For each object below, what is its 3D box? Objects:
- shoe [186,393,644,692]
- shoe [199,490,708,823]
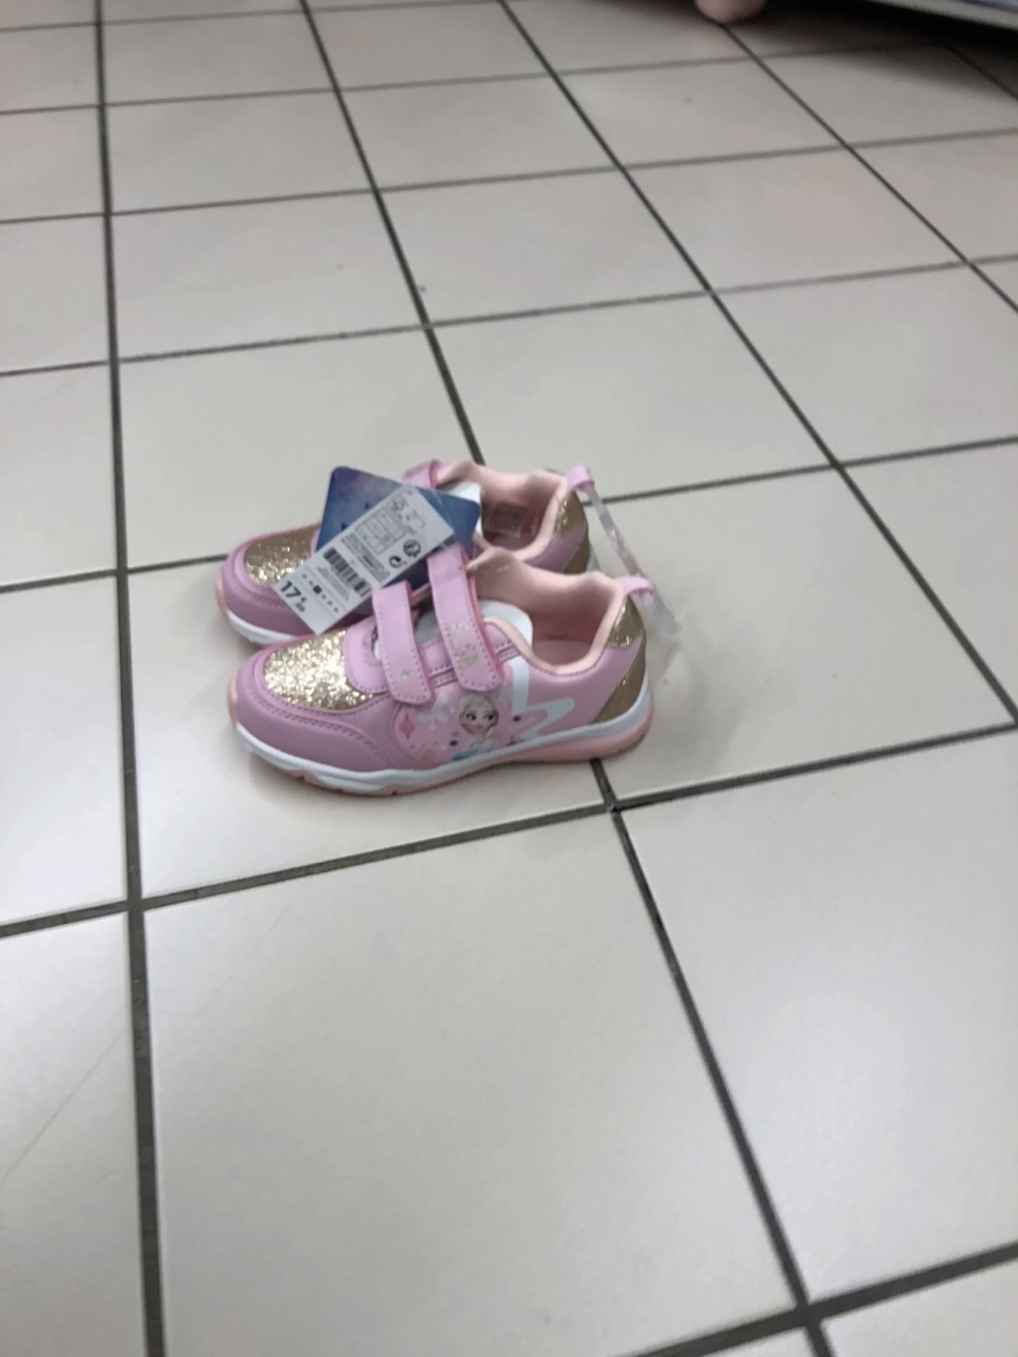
[{"bbox_3d":[-0.045,-0.066,0.536,0.195,0.087,0.083,-8,48,-9],"label":"shoe"},{"bbox_3d":[-0.026,-0.011,0.487,0.195,0.087,0.083,-8,48,-9],"label":"shoe"}]
